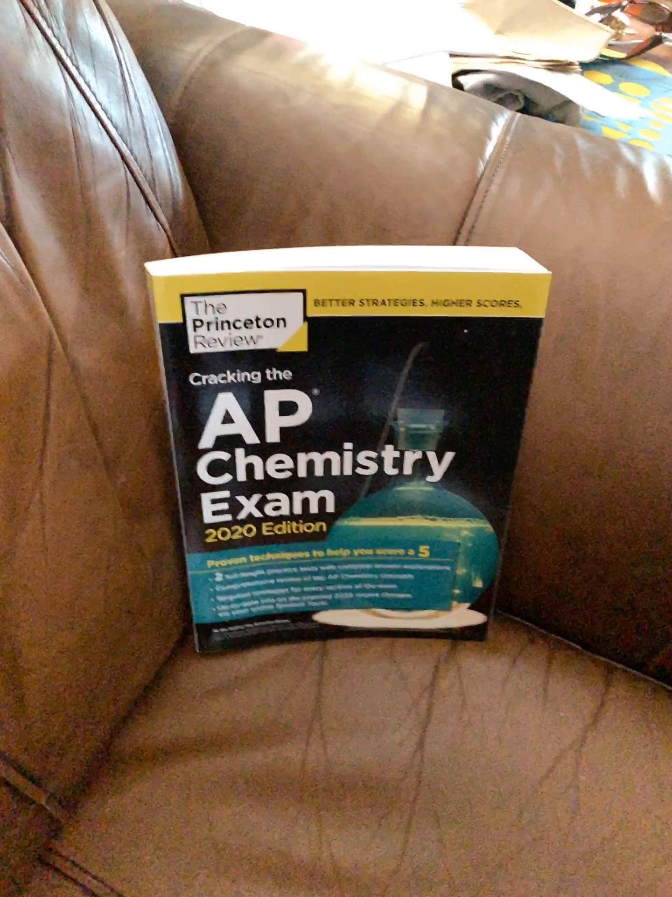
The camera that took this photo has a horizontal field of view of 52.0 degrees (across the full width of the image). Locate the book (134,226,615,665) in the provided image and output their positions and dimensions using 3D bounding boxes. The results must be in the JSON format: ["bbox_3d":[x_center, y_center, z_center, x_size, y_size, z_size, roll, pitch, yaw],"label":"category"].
[{"bbox_3d":[0.013,0.022,0.451,0.240,0.319,0.040,-1,37,-6],"label":"book"}]
